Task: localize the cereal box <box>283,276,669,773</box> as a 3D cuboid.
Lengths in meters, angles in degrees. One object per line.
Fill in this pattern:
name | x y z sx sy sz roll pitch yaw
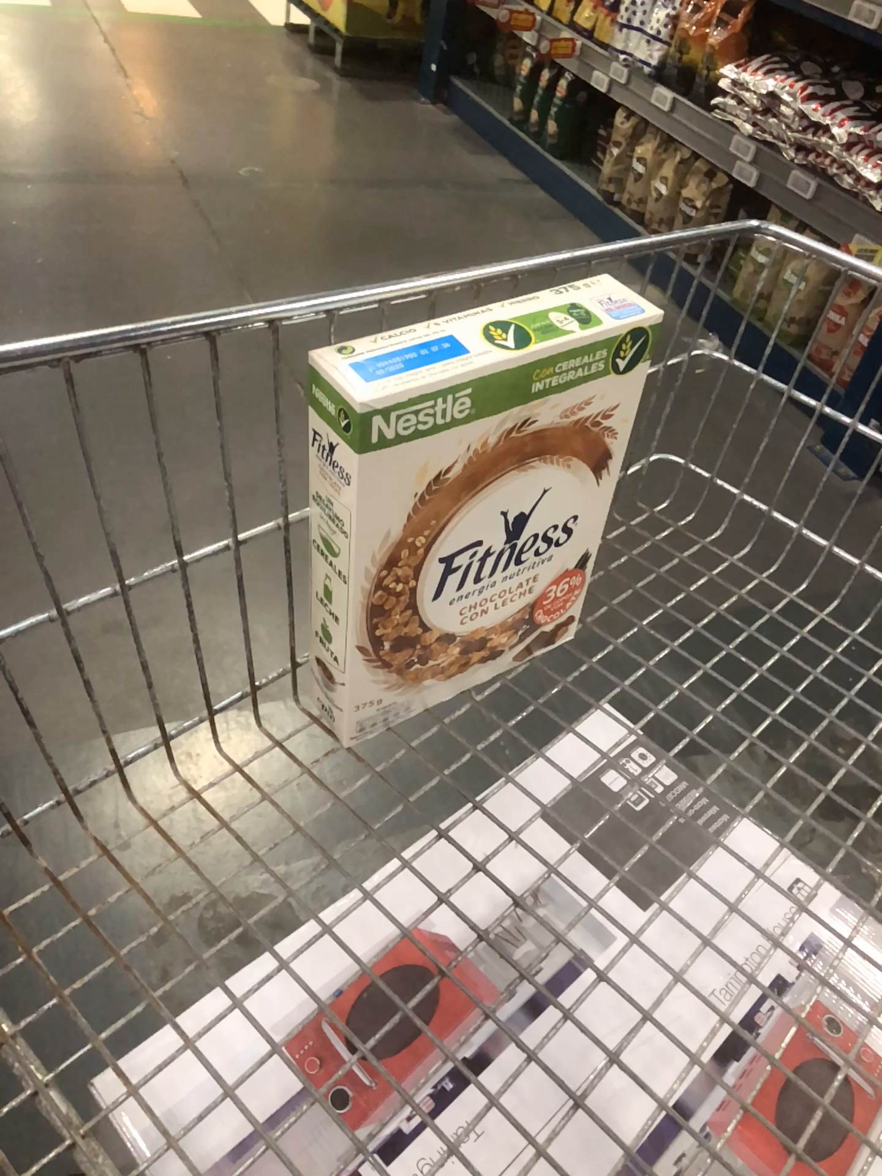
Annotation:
cereal box | 0.011 -0.032 0.579 0.201 0.259 0.060 -23 51 -29
